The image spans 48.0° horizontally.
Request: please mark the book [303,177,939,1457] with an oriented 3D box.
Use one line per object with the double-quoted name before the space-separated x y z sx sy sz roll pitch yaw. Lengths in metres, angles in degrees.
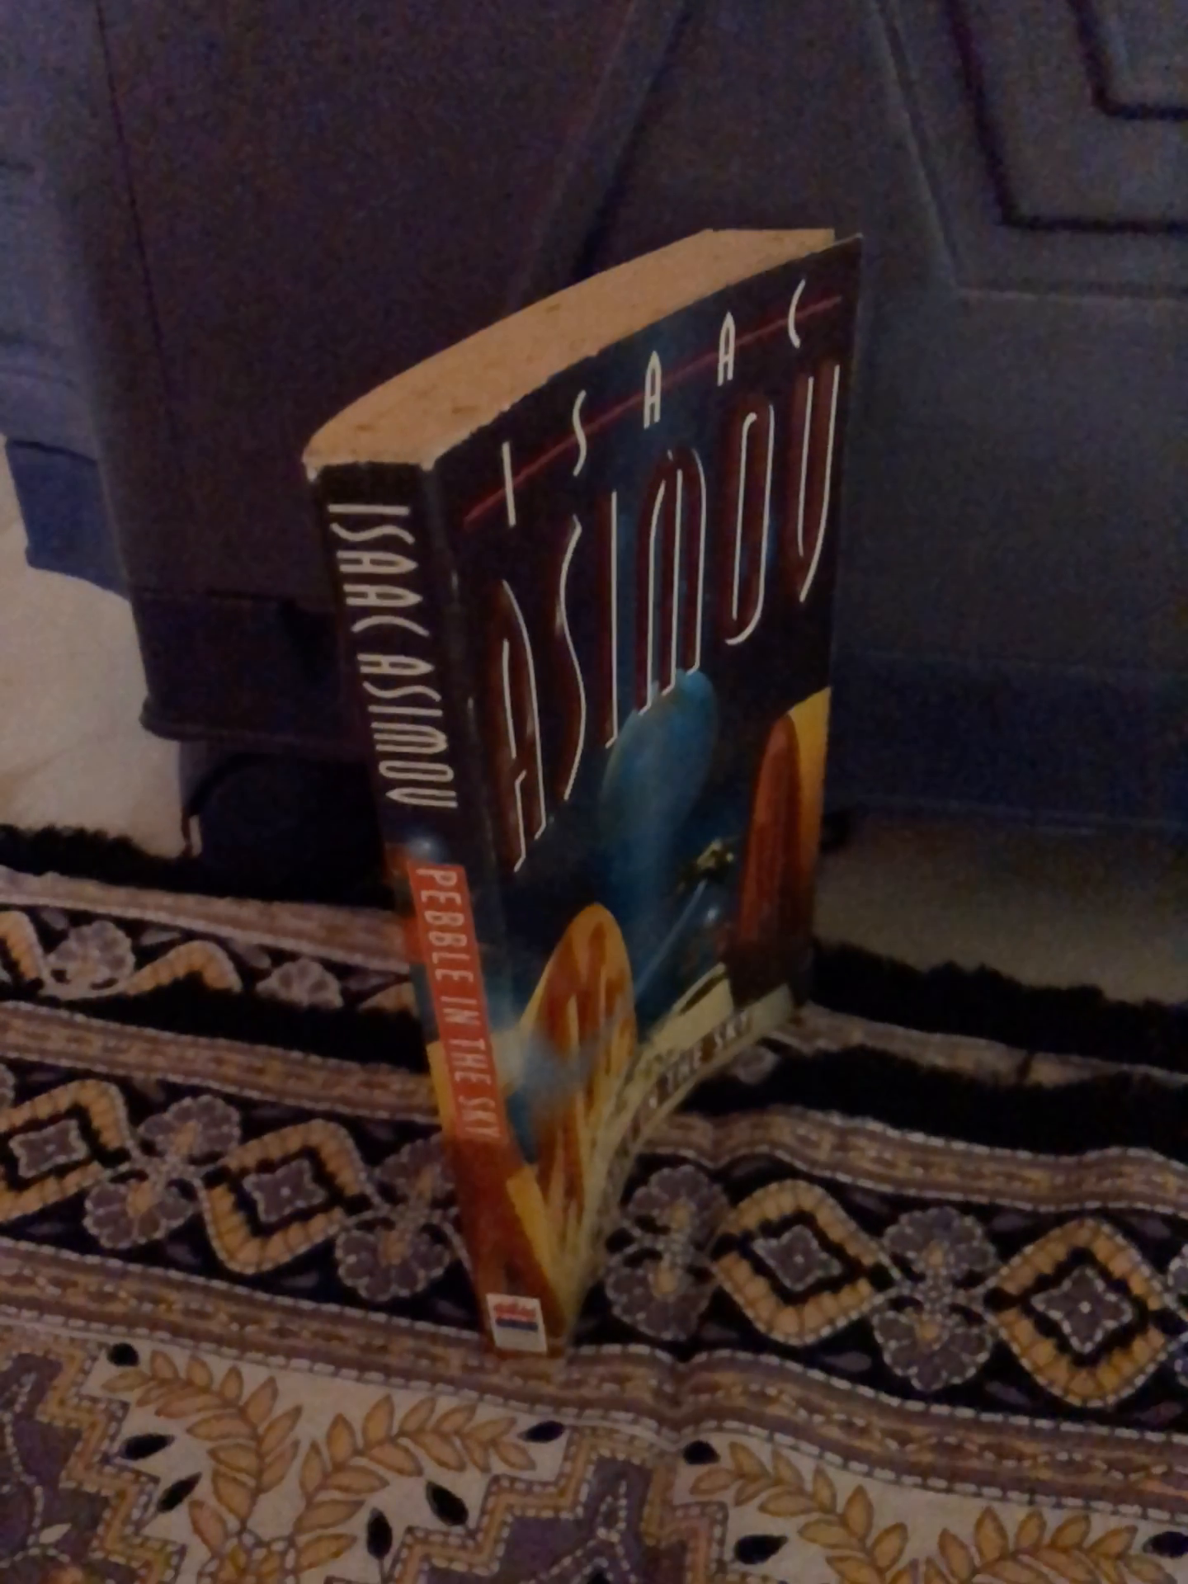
"book" 0.019 0.000 0.251 0.030 0.189 0.151 14 37 24
